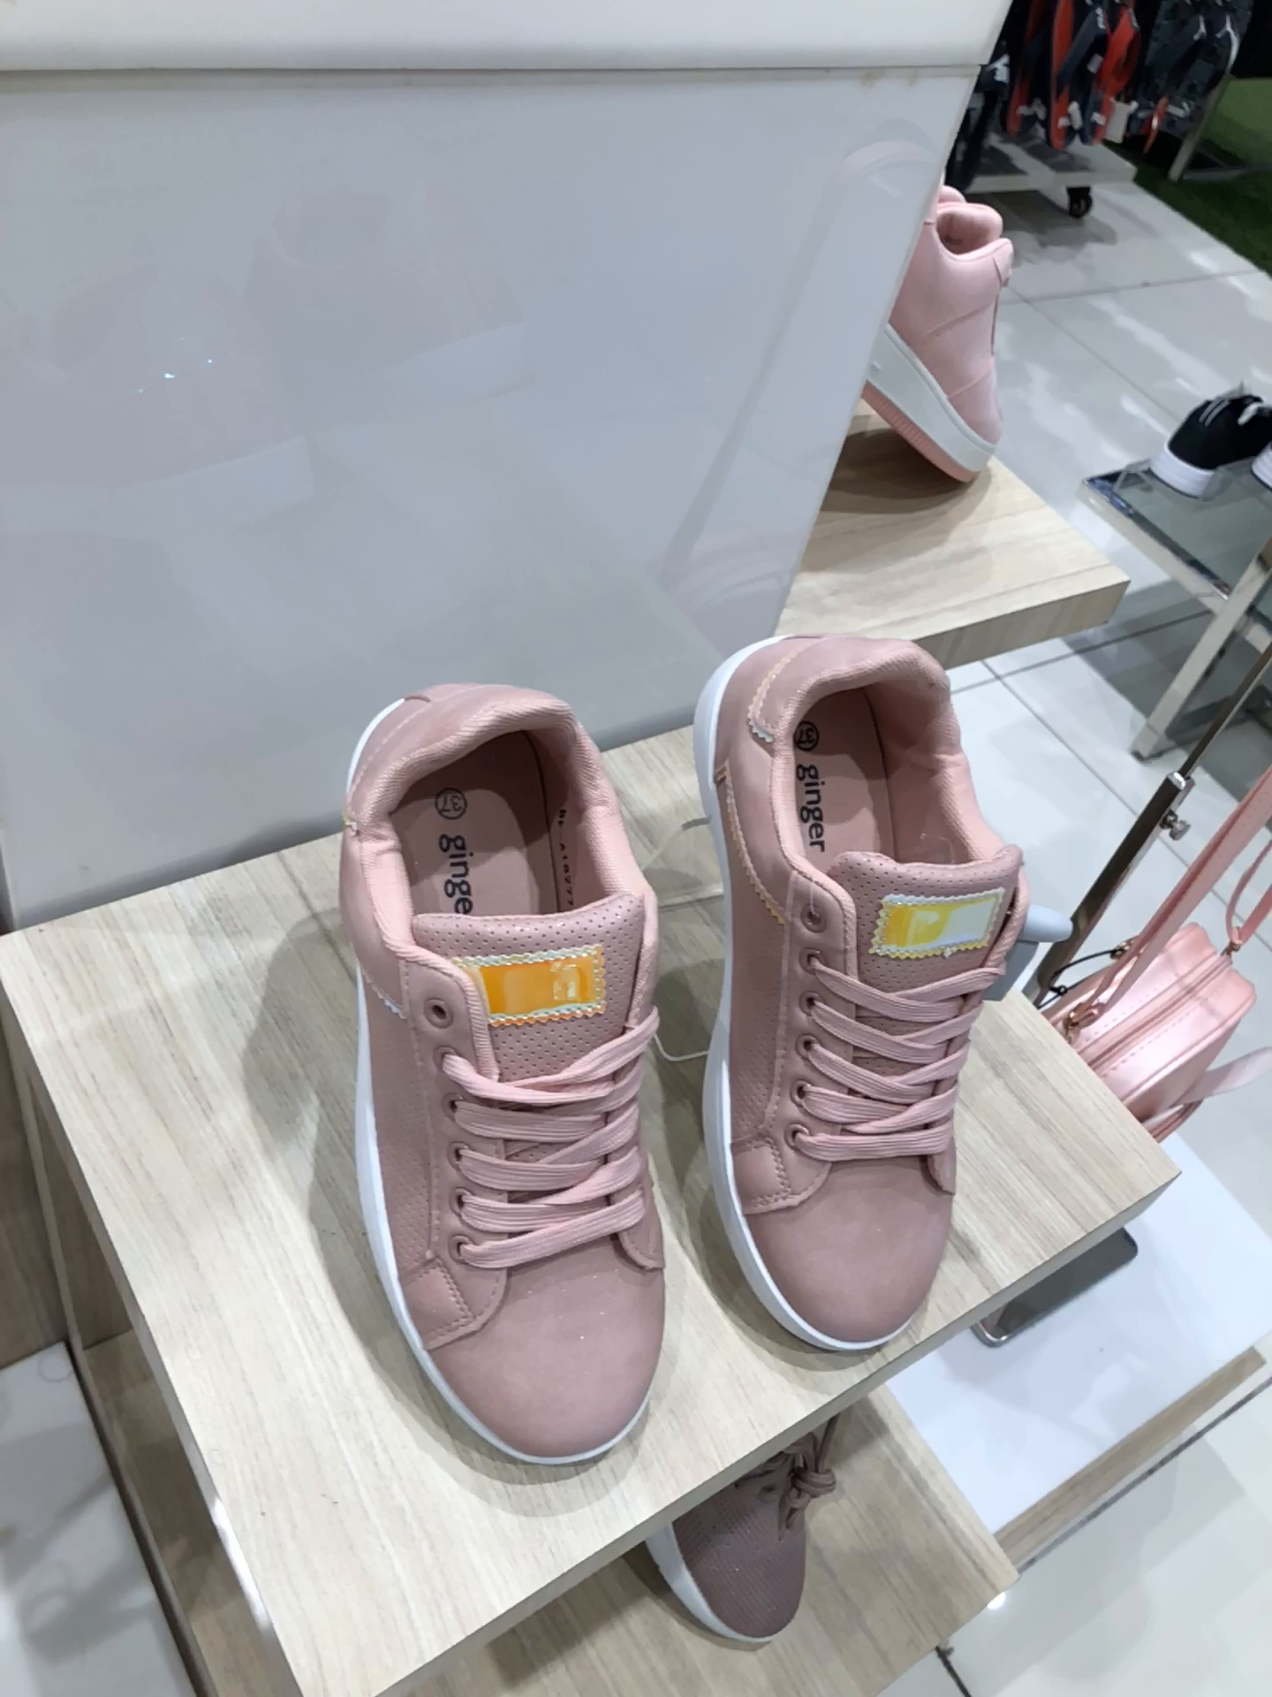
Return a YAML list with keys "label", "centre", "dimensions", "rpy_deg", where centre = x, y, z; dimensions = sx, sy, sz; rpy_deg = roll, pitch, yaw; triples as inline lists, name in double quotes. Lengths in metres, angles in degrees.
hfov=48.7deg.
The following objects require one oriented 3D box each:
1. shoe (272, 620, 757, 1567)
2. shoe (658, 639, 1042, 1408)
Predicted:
- label: "shoe"
  centre: [-0.044, 0.067, 0.457]
  dimensions: [0.100, 0.100, 0.260]
  rpy_deg: [-8, 91, -21]
- label: "shoe"
  centre: [0.072, 0.052, 0.511]
  dimensions: [0.100, 0.250, 0.100]
  rpy_deg: [-2, 6, -17]
